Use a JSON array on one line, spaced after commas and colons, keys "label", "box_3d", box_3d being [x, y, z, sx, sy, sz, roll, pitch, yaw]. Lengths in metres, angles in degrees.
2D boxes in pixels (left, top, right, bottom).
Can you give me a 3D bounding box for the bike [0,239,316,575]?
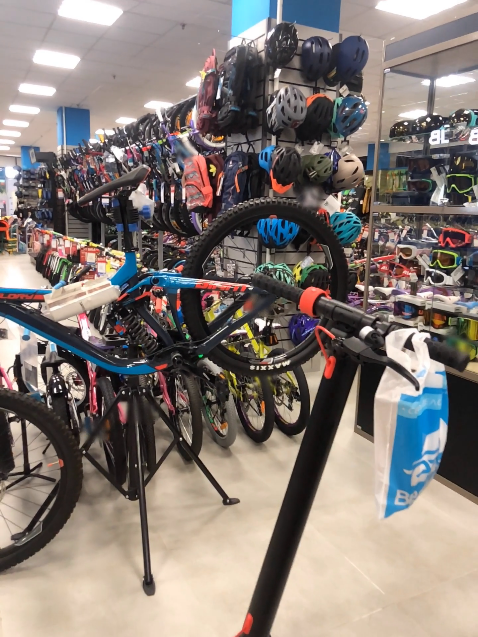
[{"label": "bike", "box_3d": [-0.537, 0.178, 1.822, 1.523, 0.182, 0.661, -28, 19, -10]}]
